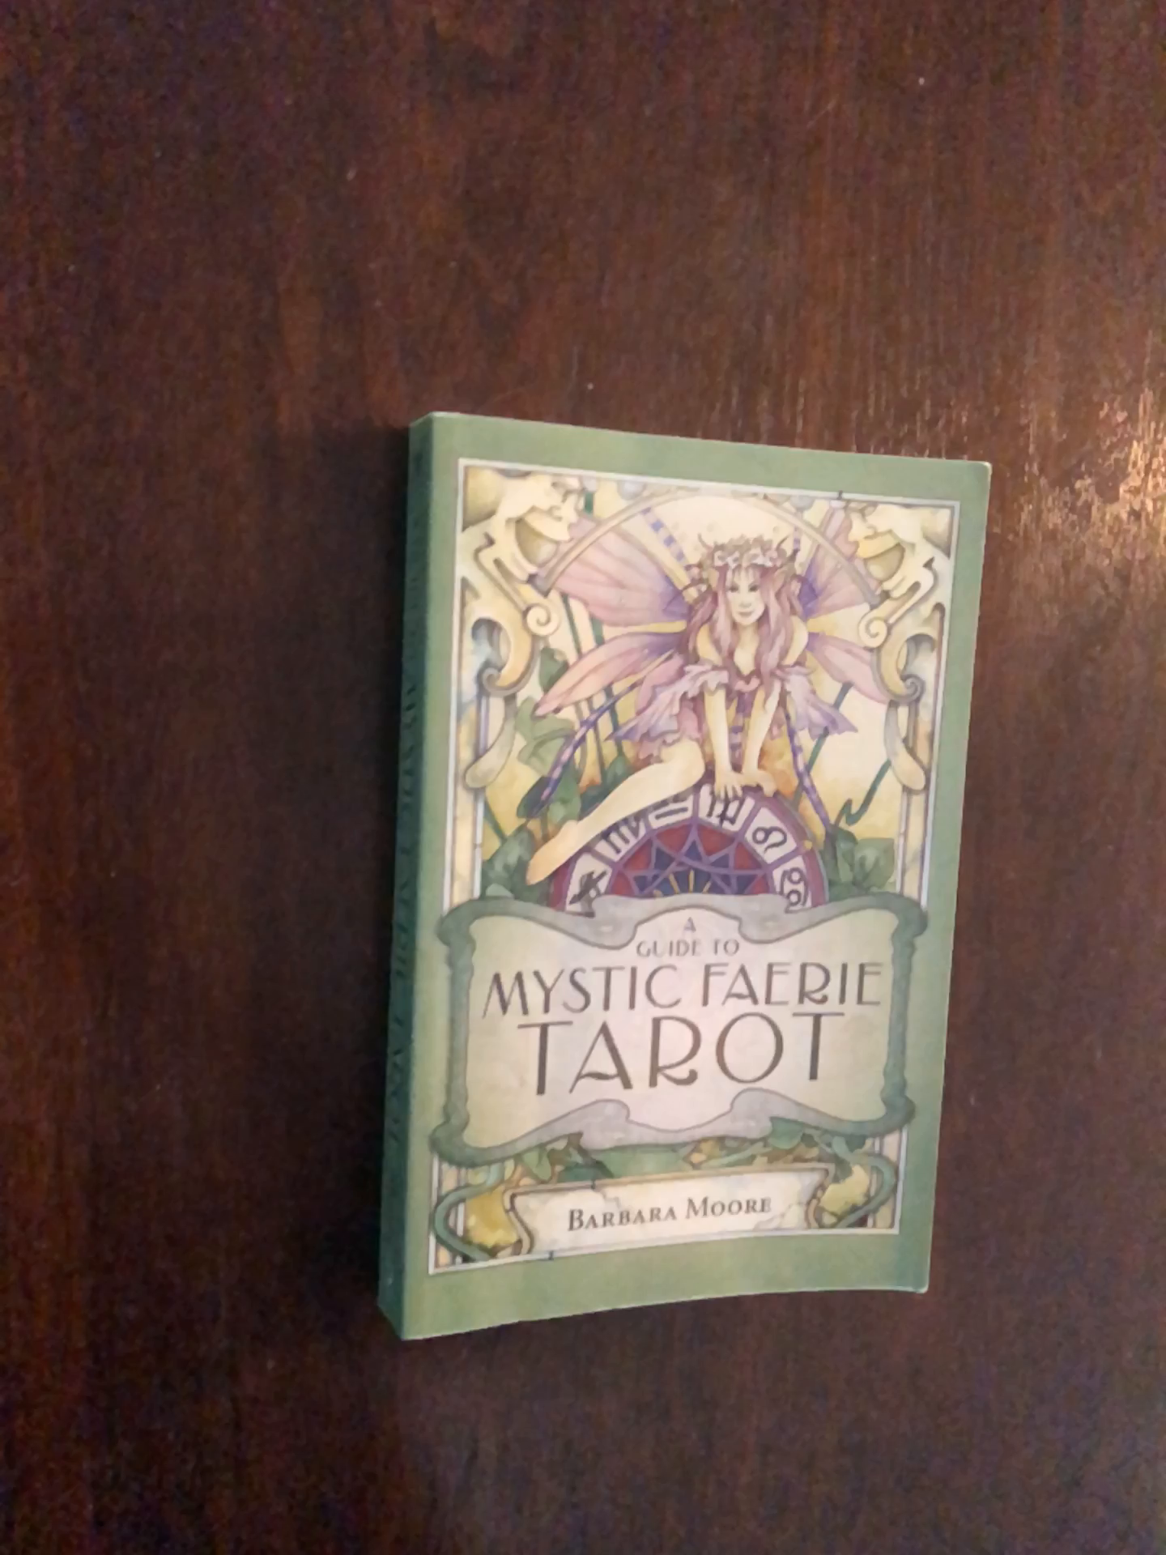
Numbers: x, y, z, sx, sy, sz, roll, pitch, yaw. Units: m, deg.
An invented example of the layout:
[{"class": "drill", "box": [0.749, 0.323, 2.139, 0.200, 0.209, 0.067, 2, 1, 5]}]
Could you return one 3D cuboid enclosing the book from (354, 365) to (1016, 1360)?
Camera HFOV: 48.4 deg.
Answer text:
[{"class": "book", "box": [0.023, 0.022, 0.306, 0.140, 0.032, 0.208, 2, 97, -20]}]
